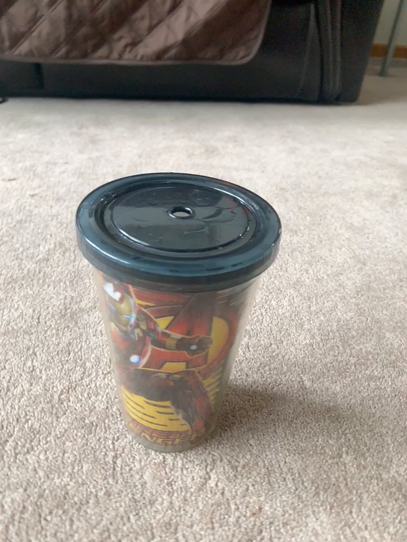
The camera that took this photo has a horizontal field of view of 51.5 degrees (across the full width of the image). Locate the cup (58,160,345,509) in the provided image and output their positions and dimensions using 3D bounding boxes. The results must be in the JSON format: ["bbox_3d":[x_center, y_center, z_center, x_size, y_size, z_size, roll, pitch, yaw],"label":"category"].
[{"bbox_3d":[-0.011,0.028,0.234,0.100,0.139,0.101,3,33,-2],"label":"cup"}]
